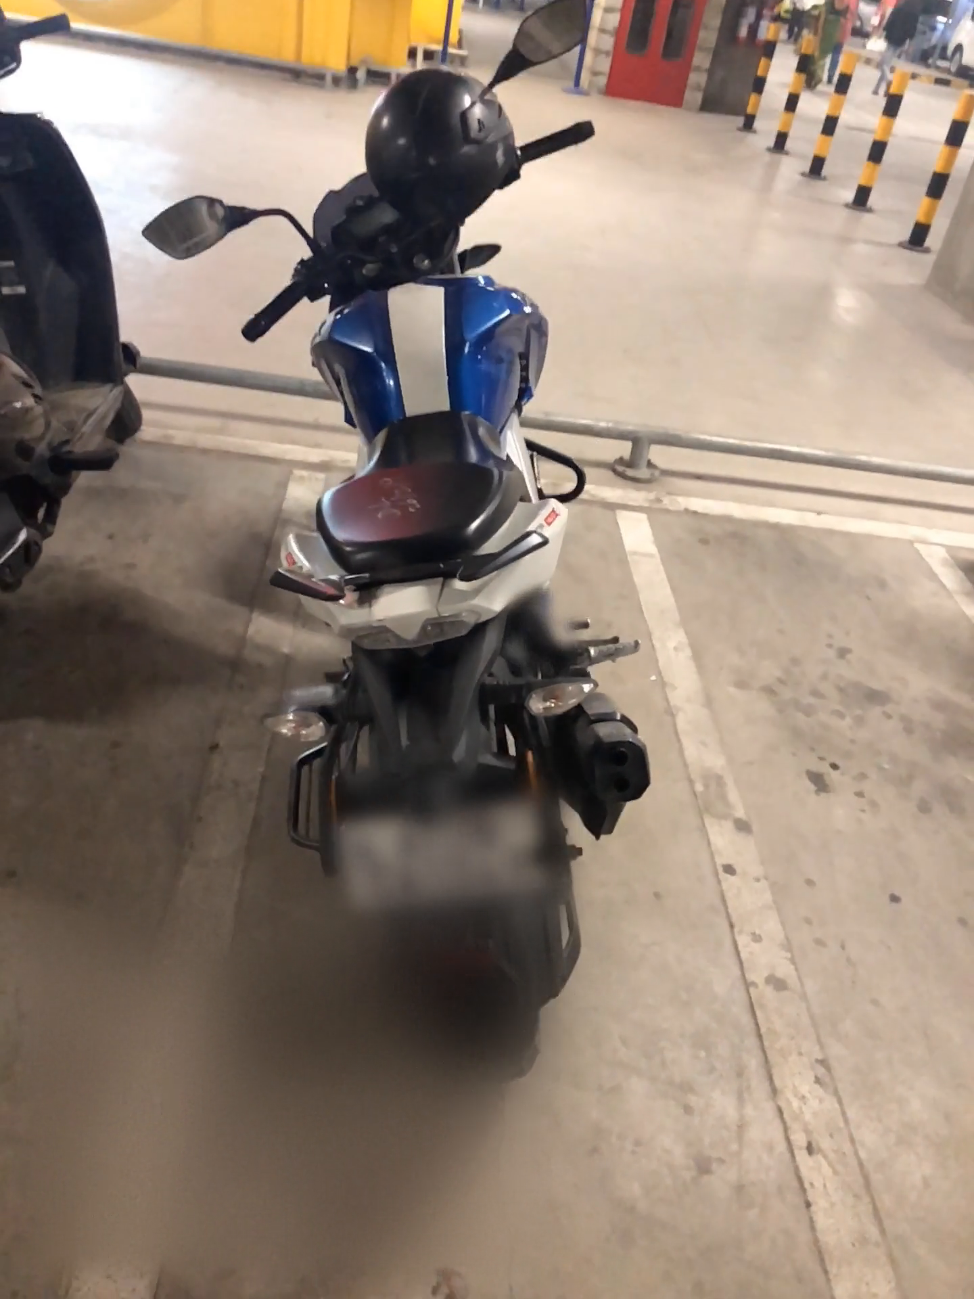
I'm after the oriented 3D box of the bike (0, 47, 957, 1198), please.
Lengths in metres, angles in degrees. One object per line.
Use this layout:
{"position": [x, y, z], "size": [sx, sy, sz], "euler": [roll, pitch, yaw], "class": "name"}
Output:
{"position": [-0.246, -0.285, 1.960], "size": [0.806, 1.162, 1.996], "euler": [3, 33, -12], "class": "bike"}
